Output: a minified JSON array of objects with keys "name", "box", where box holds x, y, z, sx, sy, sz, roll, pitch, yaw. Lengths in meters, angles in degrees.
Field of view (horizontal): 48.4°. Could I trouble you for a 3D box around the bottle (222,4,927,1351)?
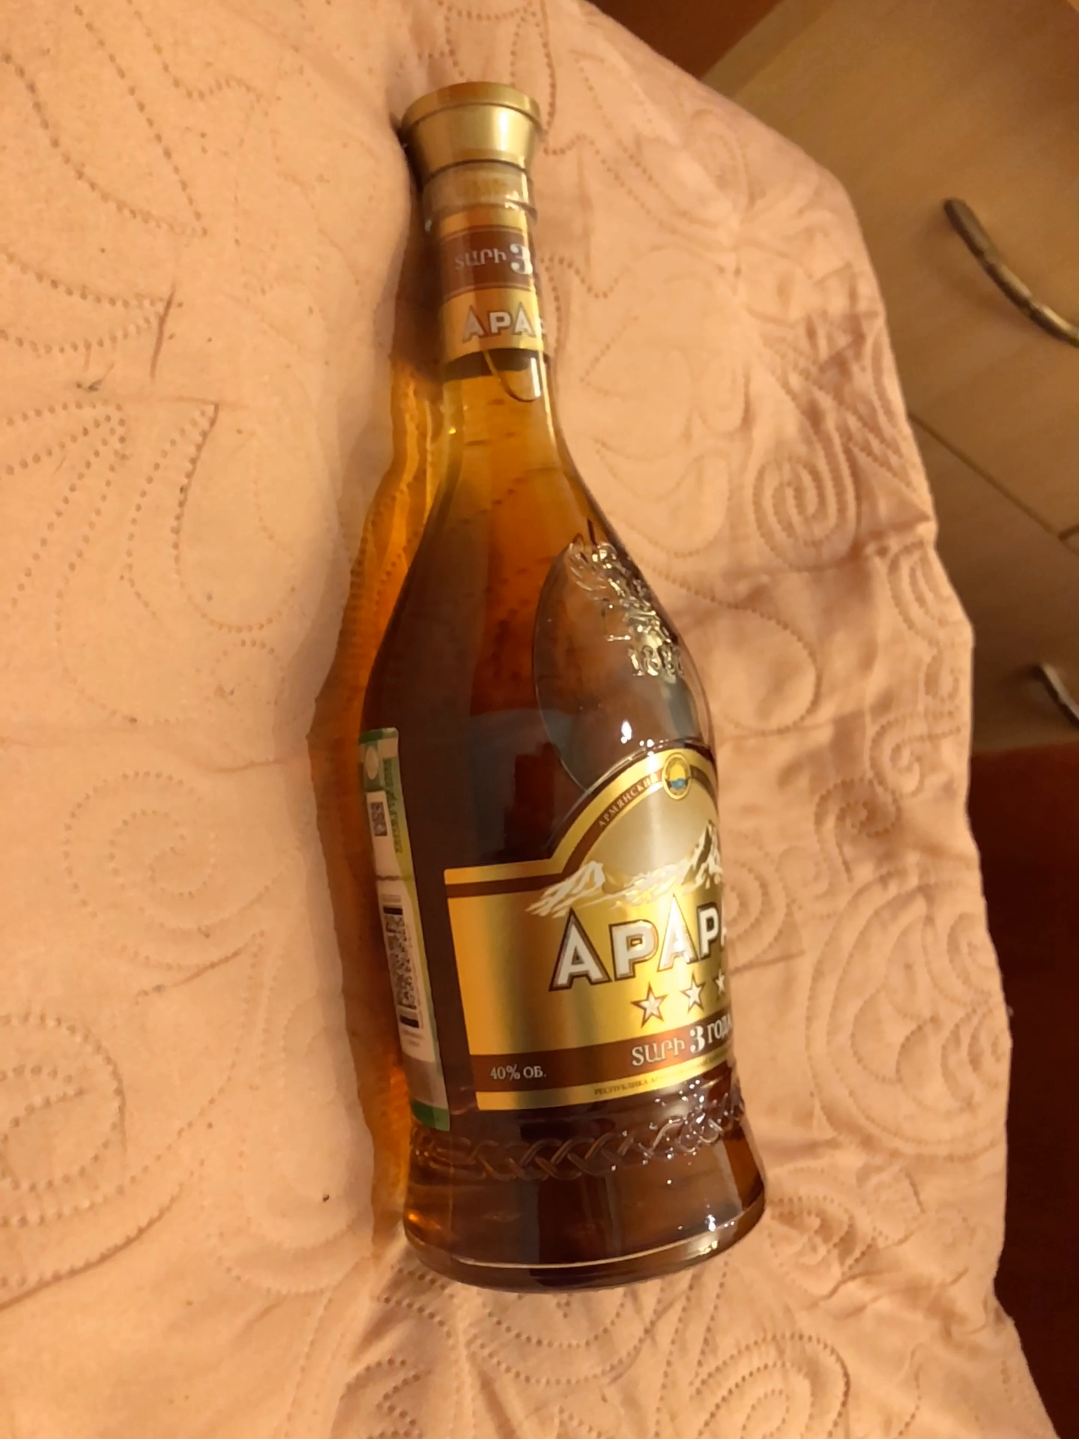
[{"name":"bottle","box":[0.004,-0.010,0.288,0.090,0.089,0.257,-6,84,-39]}]
